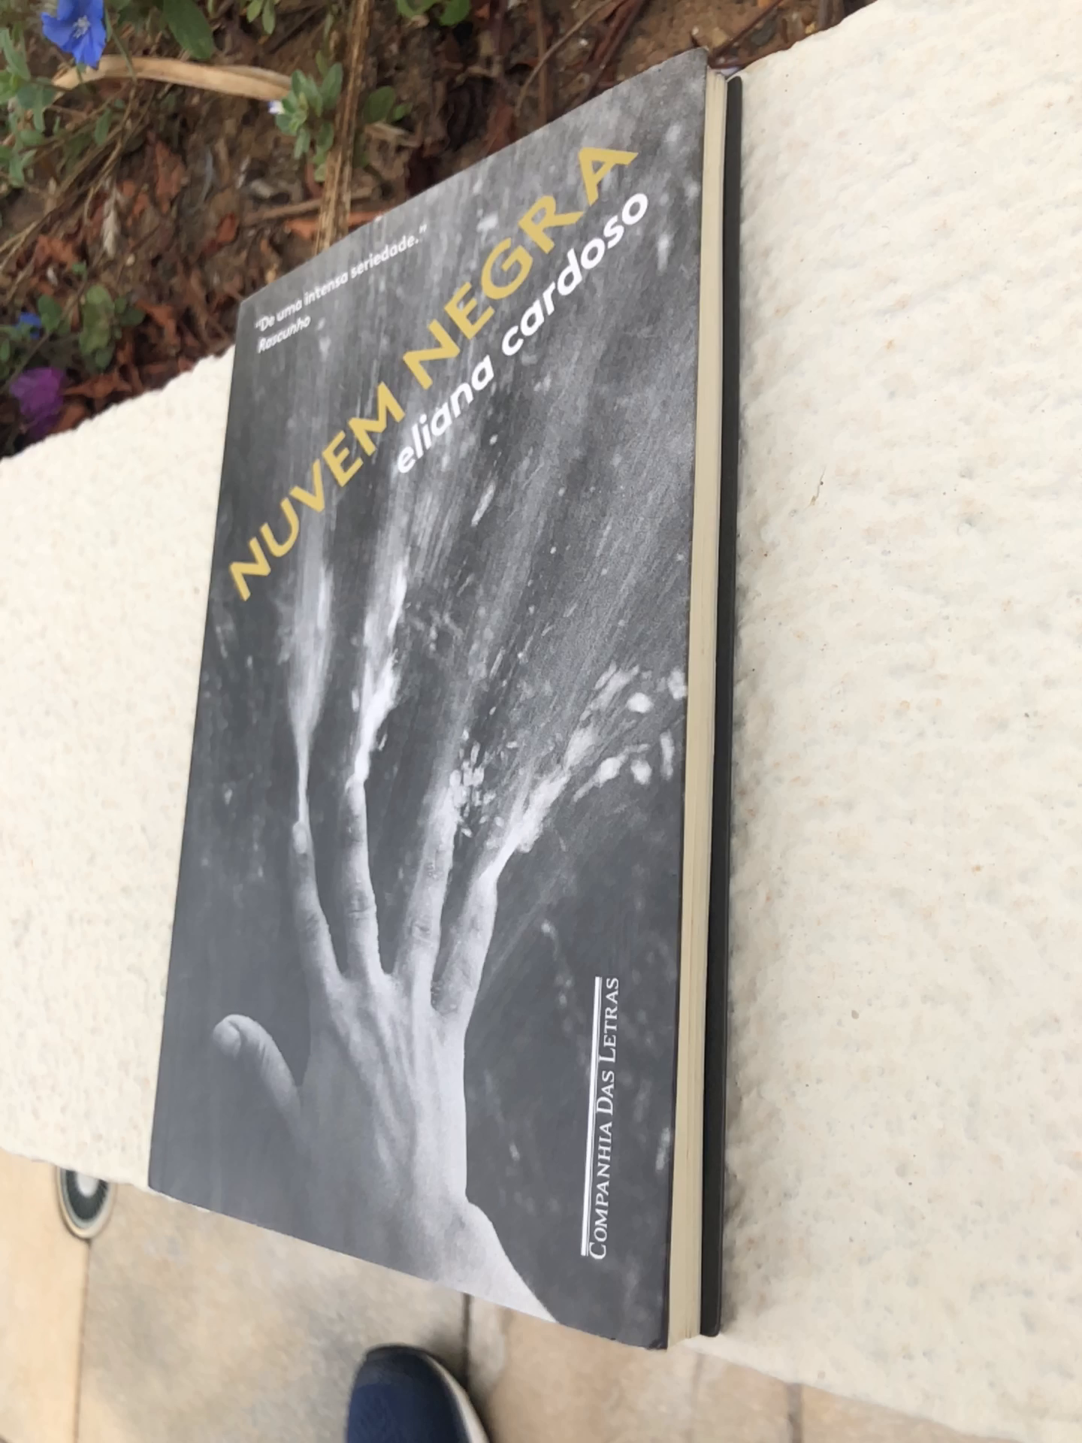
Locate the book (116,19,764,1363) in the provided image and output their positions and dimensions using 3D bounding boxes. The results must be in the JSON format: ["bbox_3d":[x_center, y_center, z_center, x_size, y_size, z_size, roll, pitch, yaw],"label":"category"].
[{"bbox_3d":[-0.025,-0.008,0.227,0.141,0.013,0.200,-6,77,40],"label":"book"}]
